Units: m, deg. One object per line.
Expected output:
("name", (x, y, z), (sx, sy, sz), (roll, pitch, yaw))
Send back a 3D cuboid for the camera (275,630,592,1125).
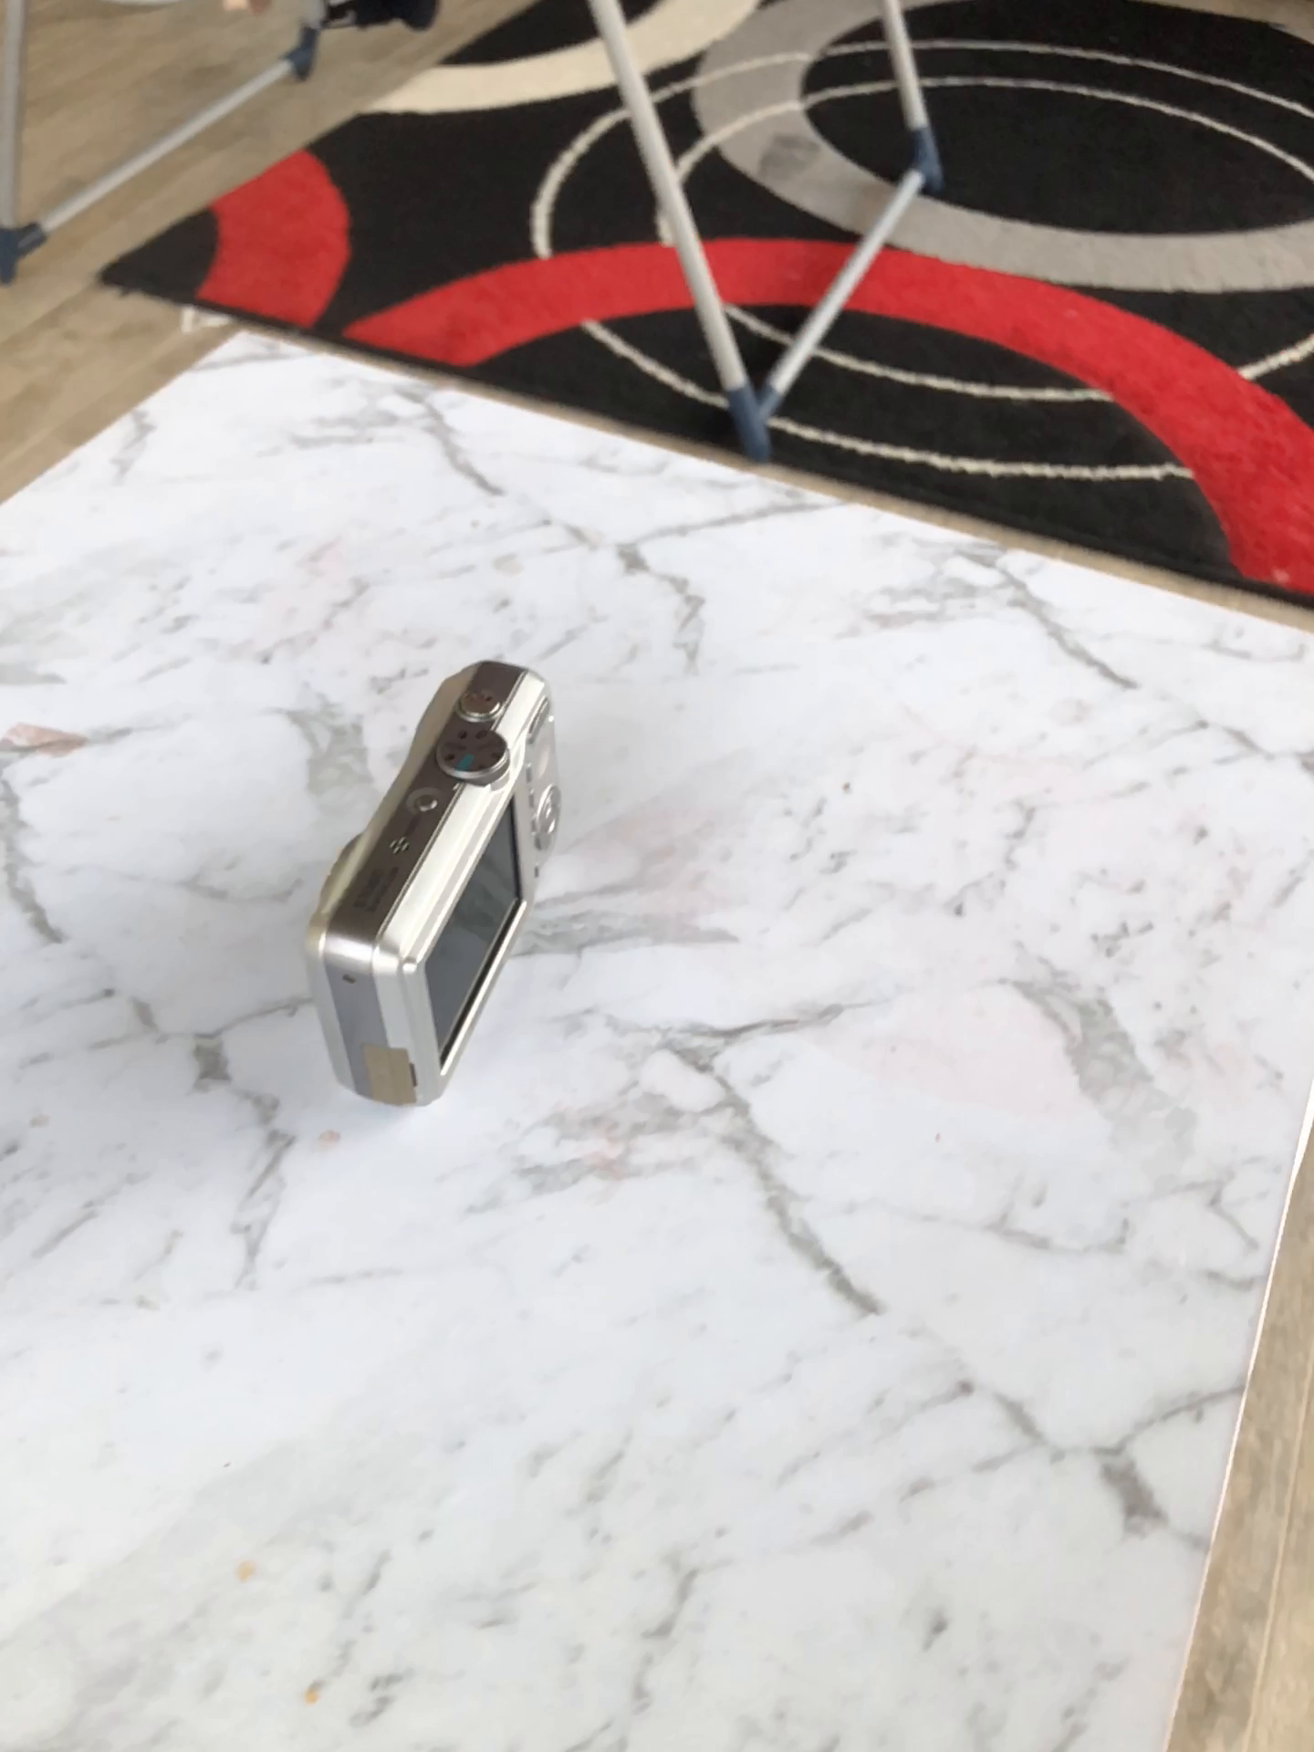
("camera", (-0.048, -0.002, 0.350), (0.034, 0.061, 0.099), (13, 49, 10))
